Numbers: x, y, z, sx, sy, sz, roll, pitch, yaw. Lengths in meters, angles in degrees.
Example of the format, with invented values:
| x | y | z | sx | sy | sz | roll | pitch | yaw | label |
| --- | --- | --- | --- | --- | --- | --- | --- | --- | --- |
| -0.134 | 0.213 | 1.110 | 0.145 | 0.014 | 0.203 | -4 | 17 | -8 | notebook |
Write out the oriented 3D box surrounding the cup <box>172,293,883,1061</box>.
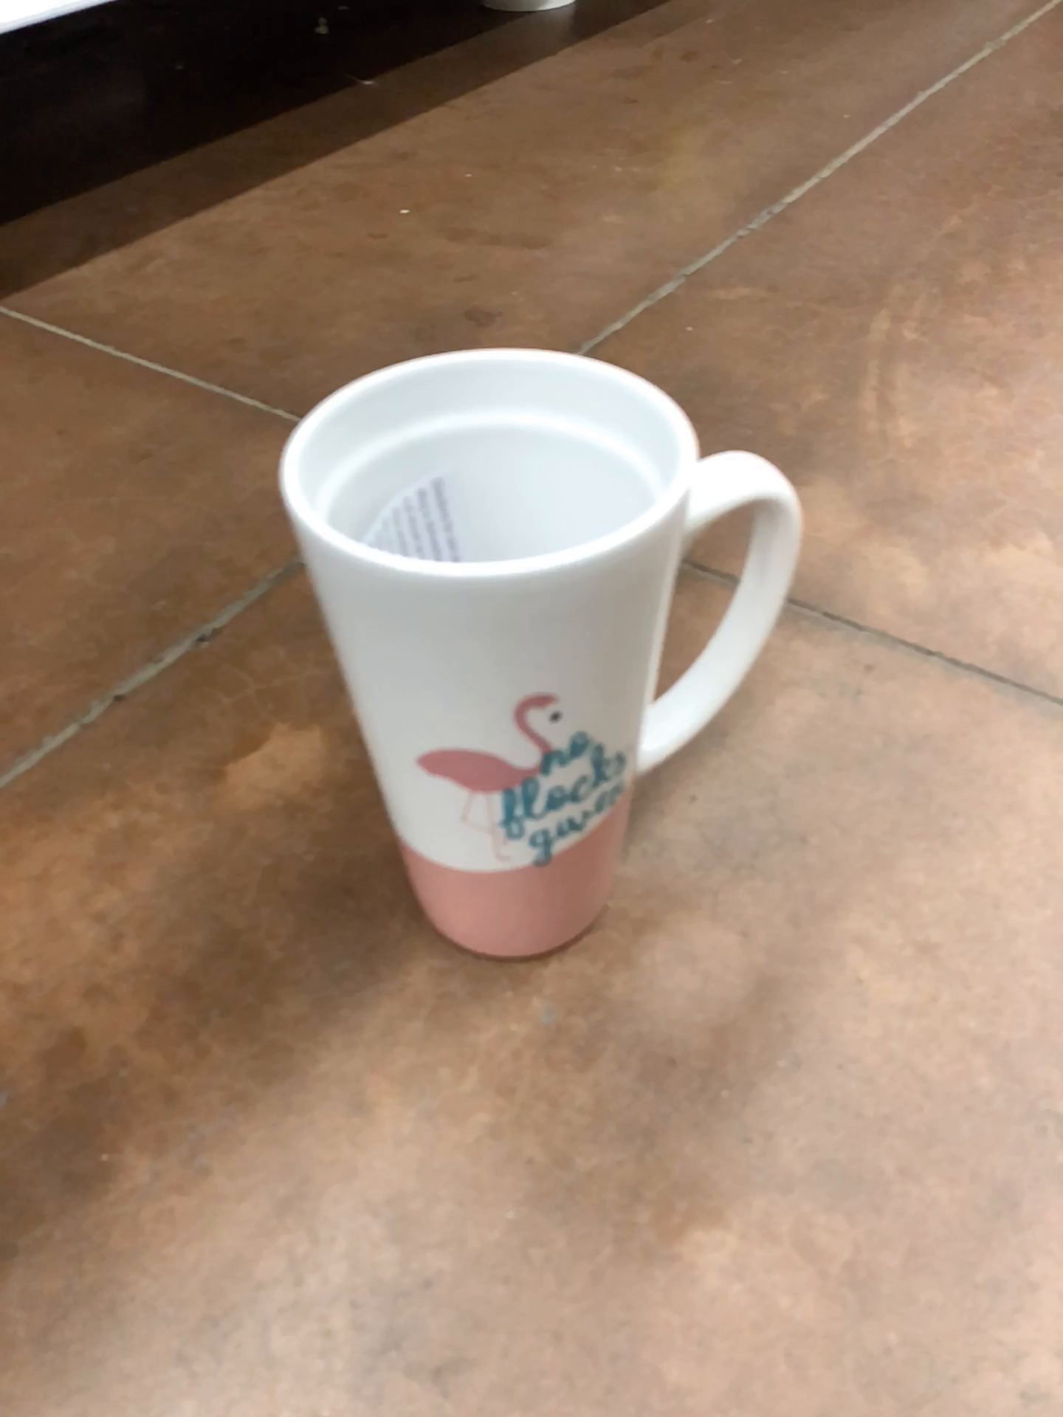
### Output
| x | y | z | sx | sy | sz | roll | pitch | yaw | label |
| --- | --- | --- | --- | --- | --- | --- | --- | --- | --- |
| -0.002 | -0.010 | 0.312 | 0.130 | 0.139 | 0.100 | -21 | 46 | -18 | cup |
